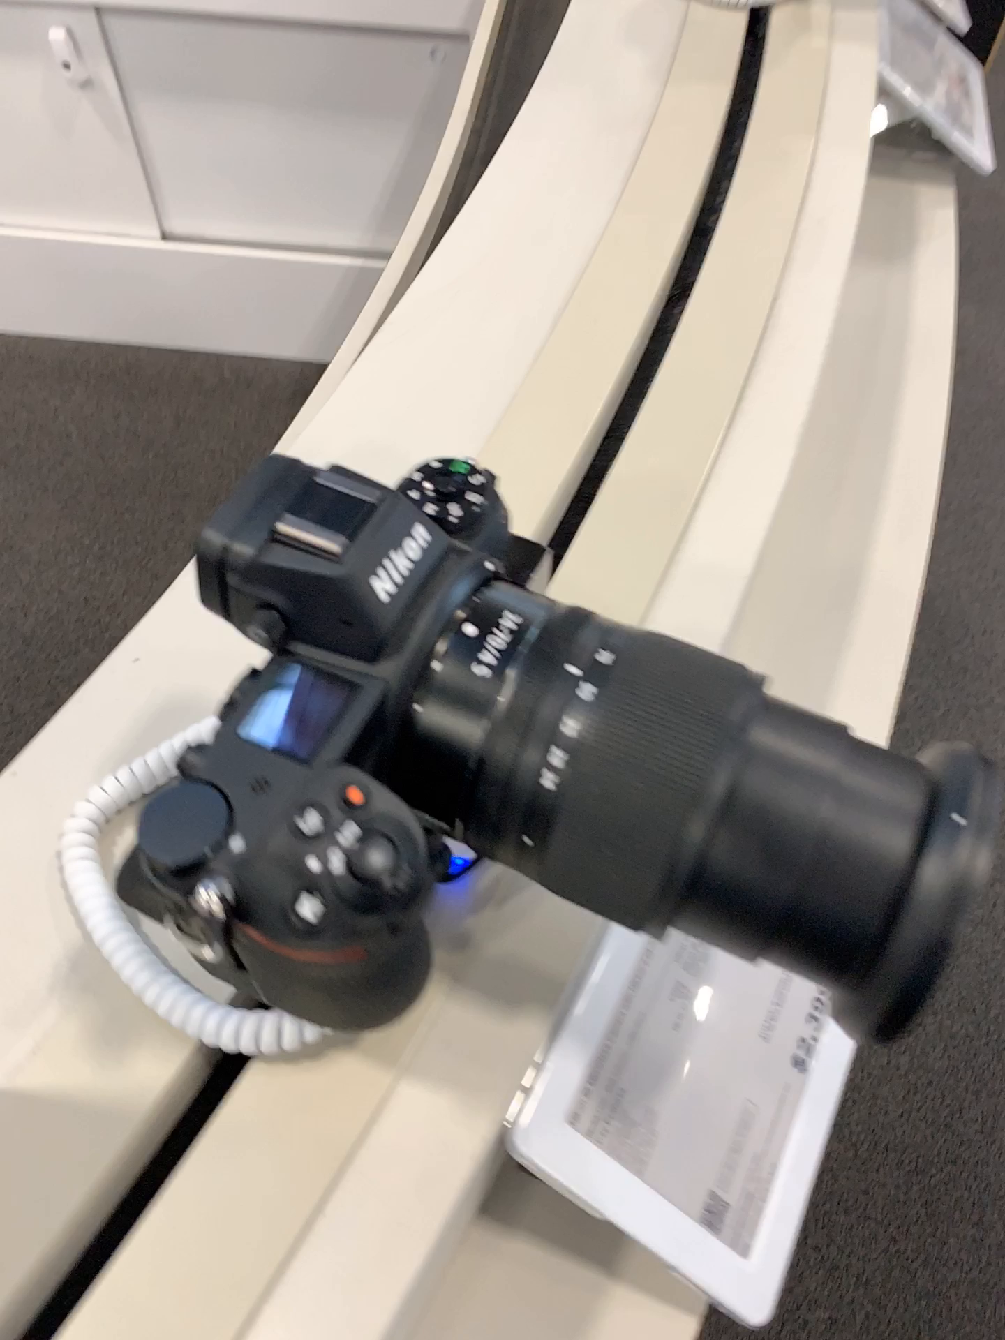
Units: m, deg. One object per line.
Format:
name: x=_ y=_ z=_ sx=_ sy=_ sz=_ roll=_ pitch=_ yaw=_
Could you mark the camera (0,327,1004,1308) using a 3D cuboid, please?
camera: x=0.010 y=0.027 z=0.255 sx=0.210 sy=0.099 sz=0.141 roll=22 pitch=58 yaw=14
